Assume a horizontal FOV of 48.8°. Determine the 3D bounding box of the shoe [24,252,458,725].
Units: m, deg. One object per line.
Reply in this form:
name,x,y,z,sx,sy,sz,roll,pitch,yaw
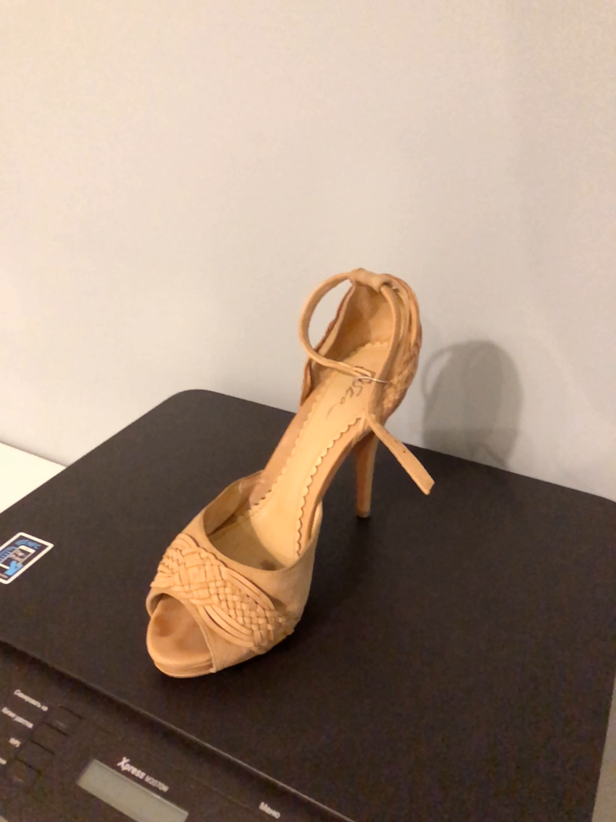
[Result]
shoe,-0.019,0.023,0.382,0.090,0.159,0.221,23,37,33
